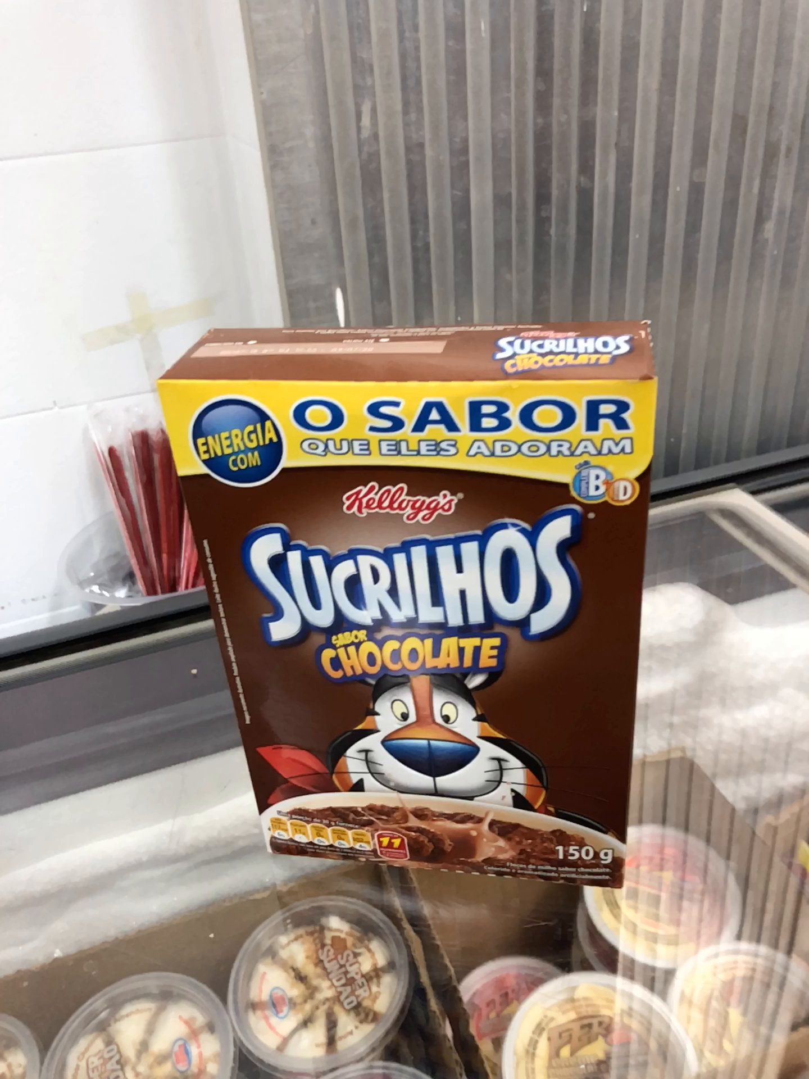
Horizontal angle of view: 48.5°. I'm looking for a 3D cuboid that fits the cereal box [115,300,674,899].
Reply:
[{"bbox_3d":[0.005,0.029,0.312,0.150,0.209,0.050,2,32,10],"label":"cereal box"}]
